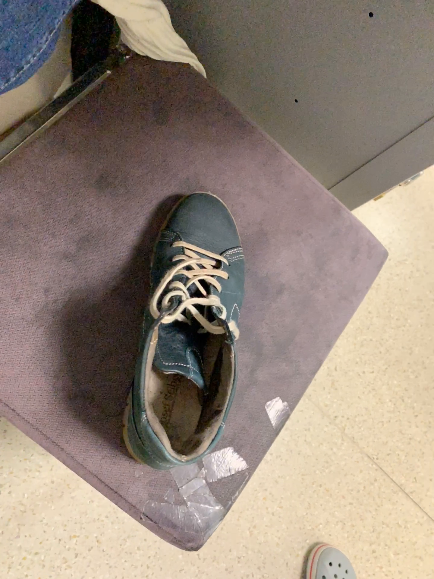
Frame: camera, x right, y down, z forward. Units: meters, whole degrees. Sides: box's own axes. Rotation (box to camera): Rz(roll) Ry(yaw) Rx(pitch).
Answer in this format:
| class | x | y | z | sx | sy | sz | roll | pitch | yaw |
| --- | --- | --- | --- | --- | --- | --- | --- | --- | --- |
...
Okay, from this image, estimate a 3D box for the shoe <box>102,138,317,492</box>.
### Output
| class | x | y | z | sx | sy | sz | roll | pitch | yaw |
| --- | --- | --- | --- | --- | --- | --- | --- | --- | --- |
| shoe | -0.011 | 0.025 | 0.393 | 0.103 | 0.143 | 0.245 | 16 | 73 | -16 |
